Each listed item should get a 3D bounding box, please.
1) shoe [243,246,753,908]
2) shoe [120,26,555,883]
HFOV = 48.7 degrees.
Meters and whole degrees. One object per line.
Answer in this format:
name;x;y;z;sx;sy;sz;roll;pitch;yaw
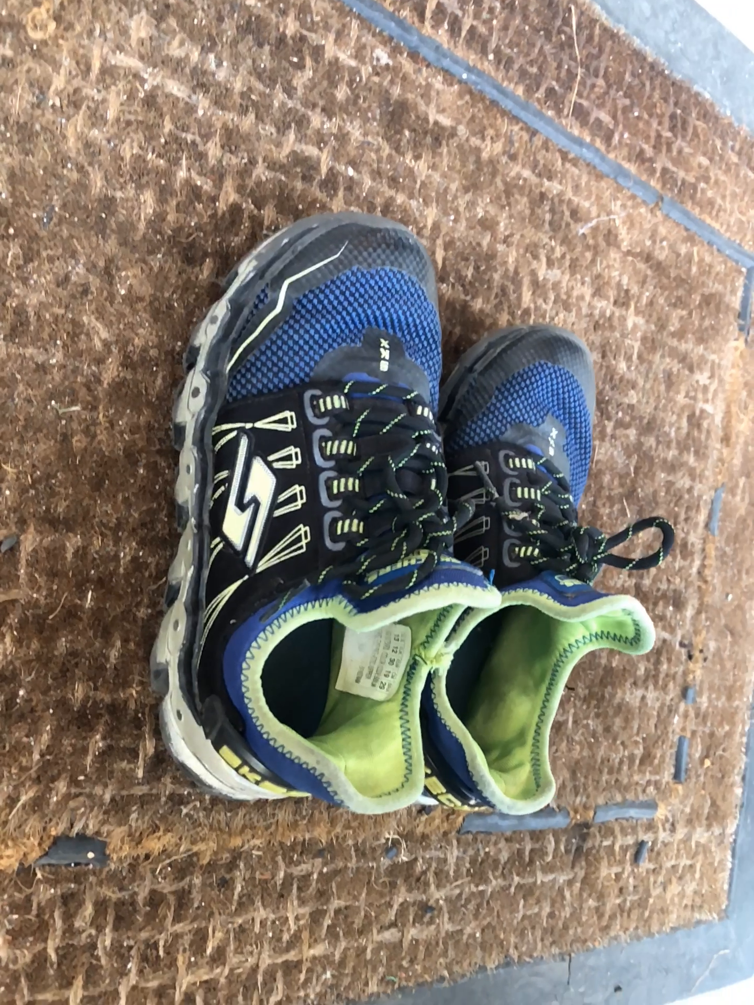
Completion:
shoe;0.050;0.023;0.317;0.090;0.100;0.200;33;72;-32
shoe;-0.016;-0.012;0.289;0.090;0.100;0.230;7;87;-36
